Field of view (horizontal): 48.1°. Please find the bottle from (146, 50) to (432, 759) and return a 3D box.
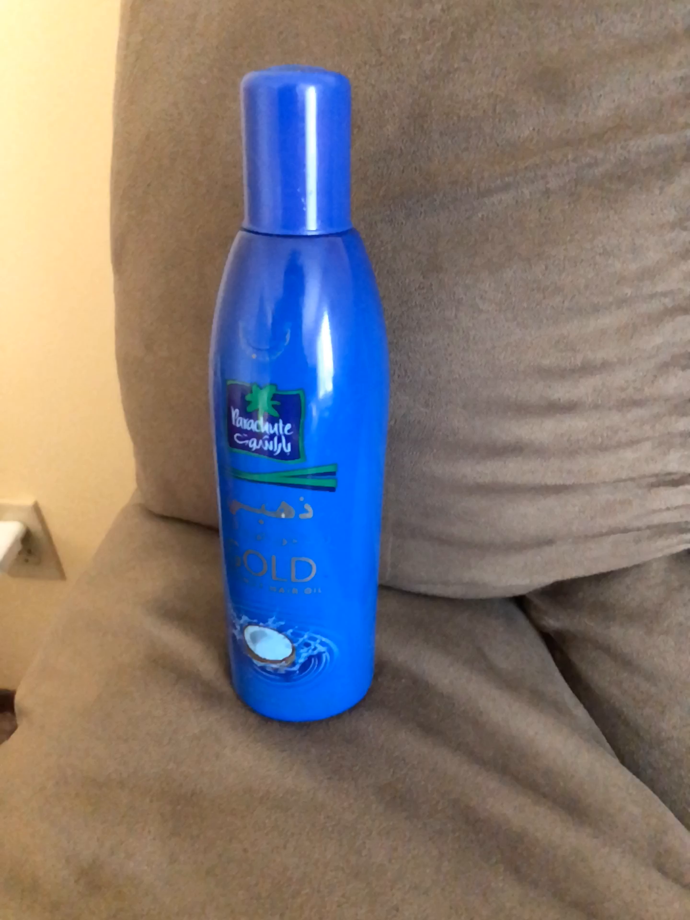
[{"bbox_3d":[-0.012,-0.010,0.213,0.050,0.180,0.050,1,25,-1],"label":"bottle"}]
